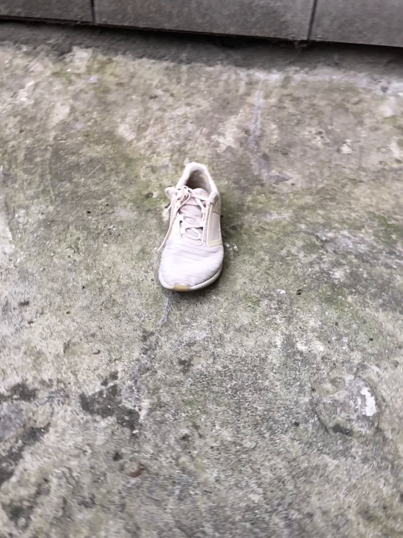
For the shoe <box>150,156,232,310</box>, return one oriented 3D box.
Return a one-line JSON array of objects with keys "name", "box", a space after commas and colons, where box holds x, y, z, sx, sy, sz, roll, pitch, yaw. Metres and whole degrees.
[{"name": "shoe", "box": [-0.010, -0.079, 0.809, 0.120, 0.109, 0.302, 3, 43, 1]}]
